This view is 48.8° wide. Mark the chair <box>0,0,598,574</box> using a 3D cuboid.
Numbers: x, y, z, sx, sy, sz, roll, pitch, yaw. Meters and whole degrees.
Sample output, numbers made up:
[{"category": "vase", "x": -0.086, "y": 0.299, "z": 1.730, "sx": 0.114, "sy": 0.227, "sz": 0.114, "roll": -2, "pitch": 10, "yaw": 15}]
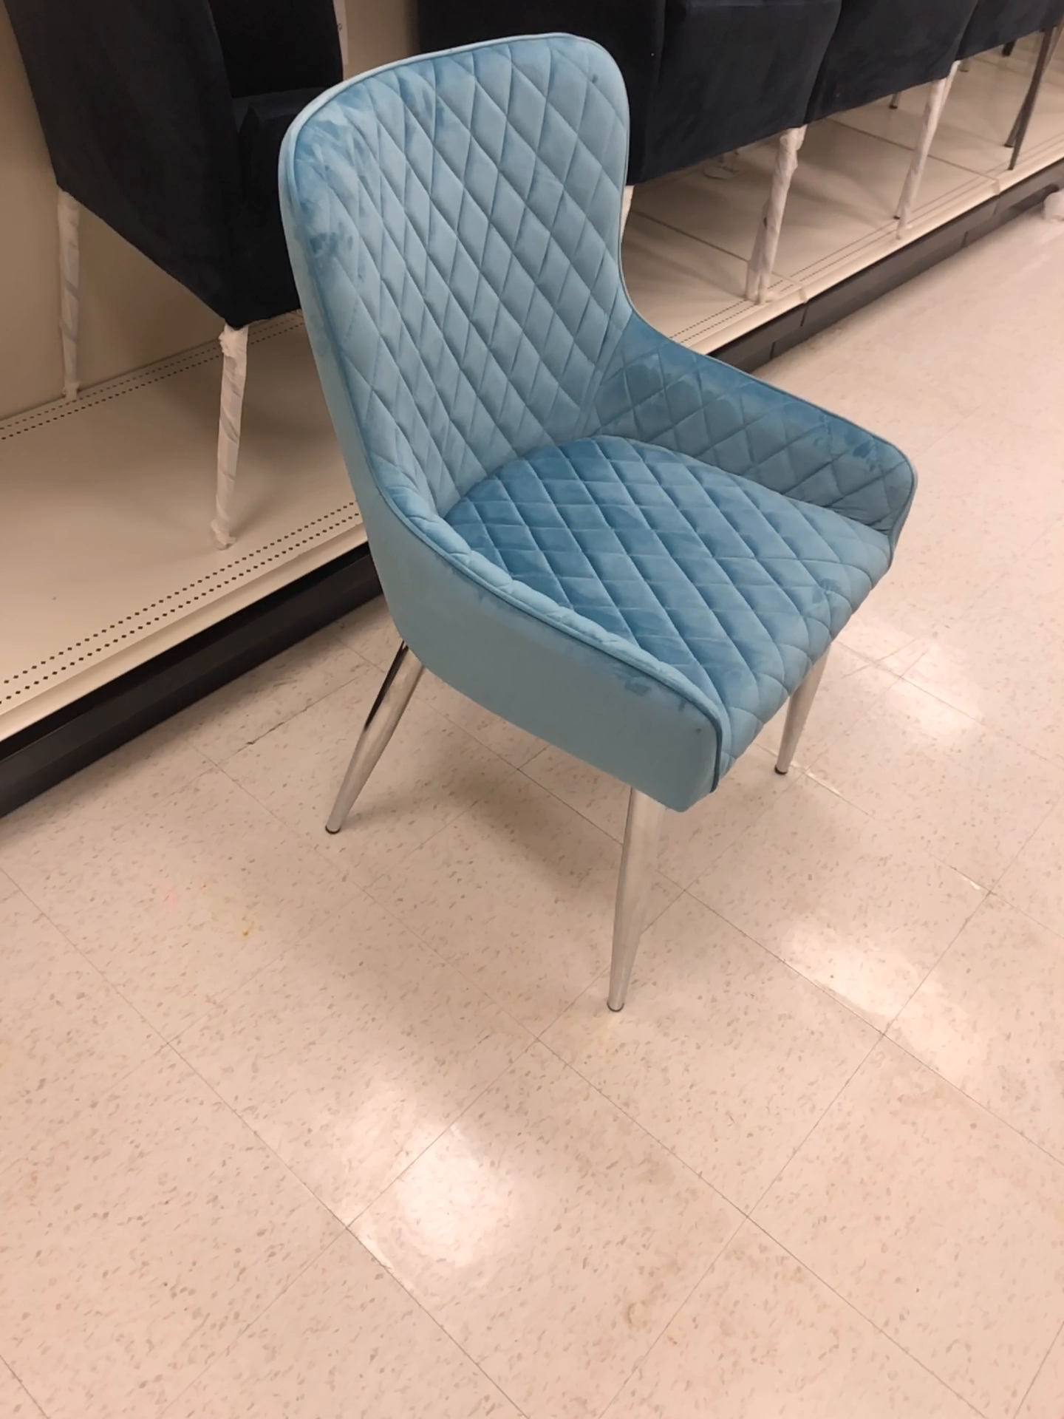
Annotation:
[{"category": "chair", "x": -0.357, "y": -0.744, "z": 1.620, "sx": 0.581, "sy": 0.777, "sz": 0.561, "roll": -31, "pitch": 56, "yaw": -32}]

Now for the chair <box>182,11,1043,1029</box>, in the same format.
[{"category": "chair", "x": 0.062, "y": -0.211, "z": 1.376, "sx": 0.584, "sy": 0.870, "sz": 0.562, "roll": 29, "pitch": 49, "yaw": 21}]
